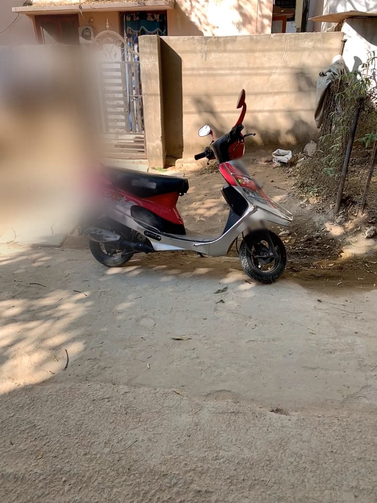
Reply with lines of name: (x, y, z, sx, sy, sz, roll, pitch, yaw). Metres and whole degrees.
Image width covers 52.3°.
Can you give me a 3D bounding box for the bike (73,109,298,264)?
bike: (0.017, -0.491, 2.968, 1.494, 1.037, 0.486, 2, 26, 9)
